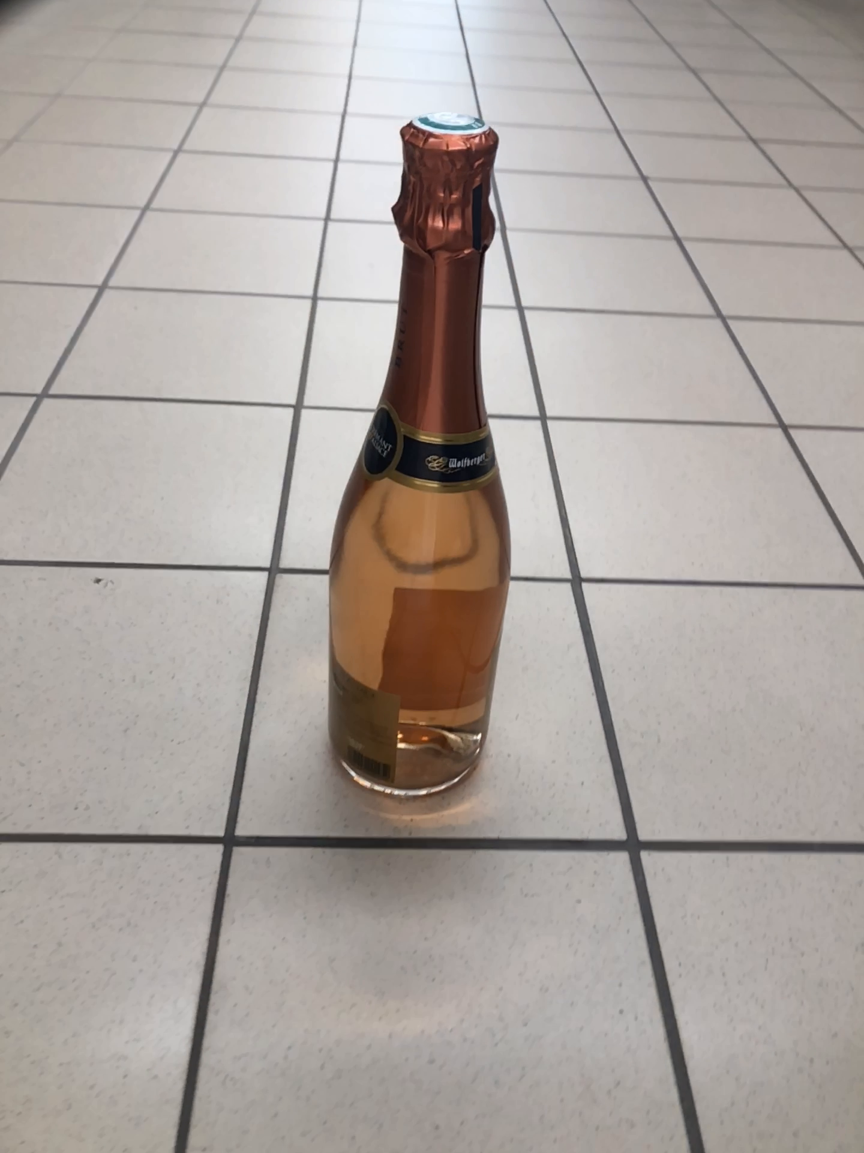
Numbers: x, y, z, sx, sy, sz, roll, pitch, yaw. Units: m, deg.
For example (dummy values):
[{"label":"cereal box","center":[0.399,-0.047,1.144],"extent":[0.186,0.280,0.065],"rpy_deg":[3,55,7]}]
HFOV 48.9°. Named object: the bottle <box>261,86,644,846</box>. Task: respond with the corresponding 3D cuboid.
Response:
[{"label":"bottle","center":[-0.004,-0.028,0.411],"extent":[0.090,0.308,0.090],"rpy_deg":[3,40,-2]}]
